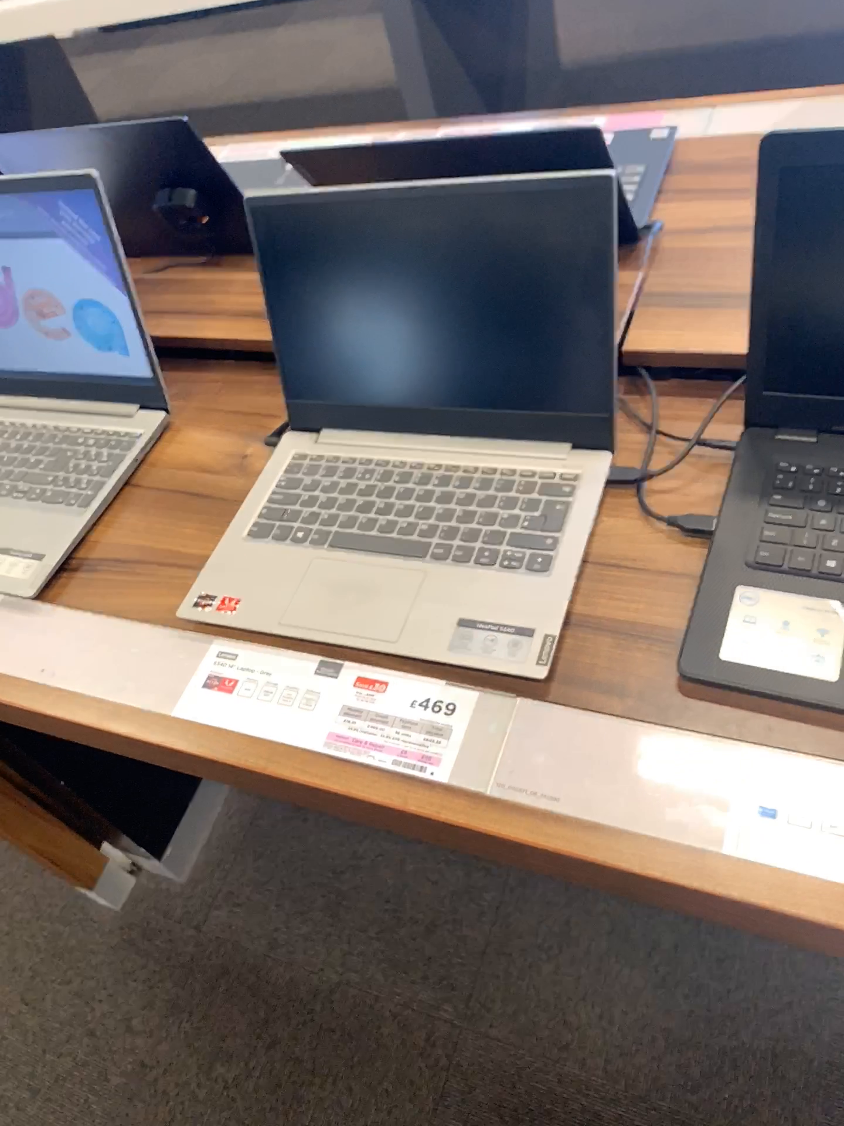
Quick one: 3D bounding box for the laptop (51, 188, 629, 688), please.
[{"bbox_3d":[-0.034,-0.111,0.676,0.316,0.199,0.295,8,53,24],"label":"laptop"}]
